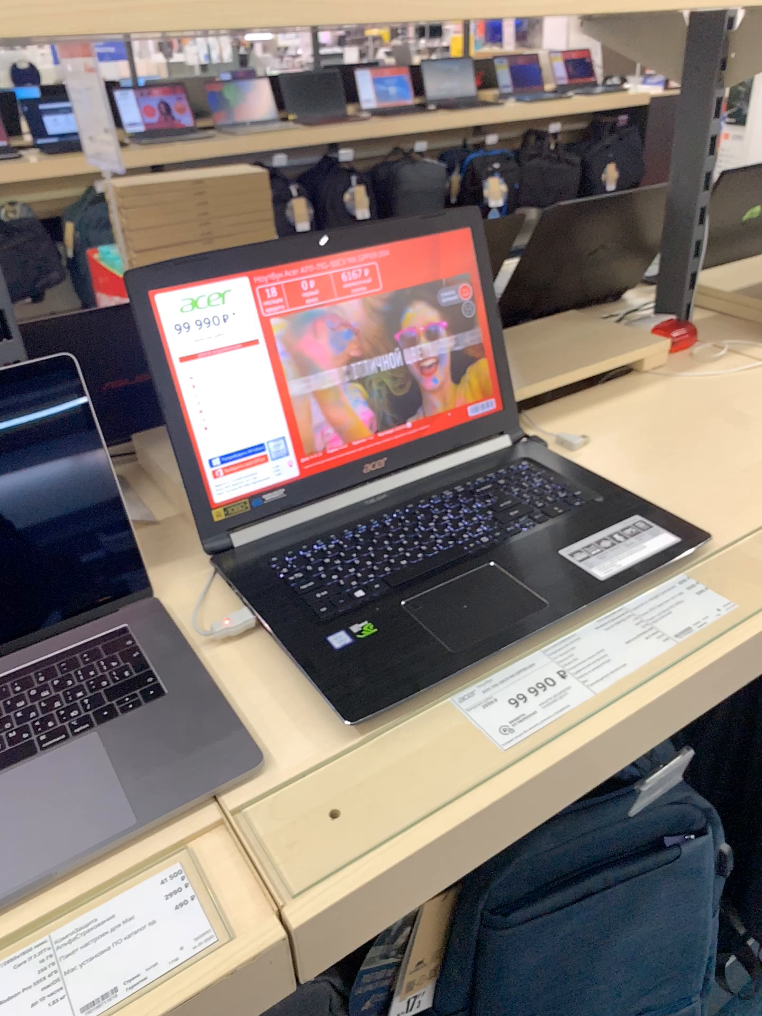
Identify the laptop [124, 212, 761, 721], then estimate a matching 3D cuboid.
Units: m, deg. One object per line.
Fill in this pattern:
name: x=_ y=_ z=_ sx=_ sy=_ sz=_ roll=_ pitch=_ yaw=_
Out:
laptop: x=0.045 y=-0.091 z=0.733 sx=0.407 sy=0.248 sz=0.363 roll=-21 pitch=36 yaw=-28
